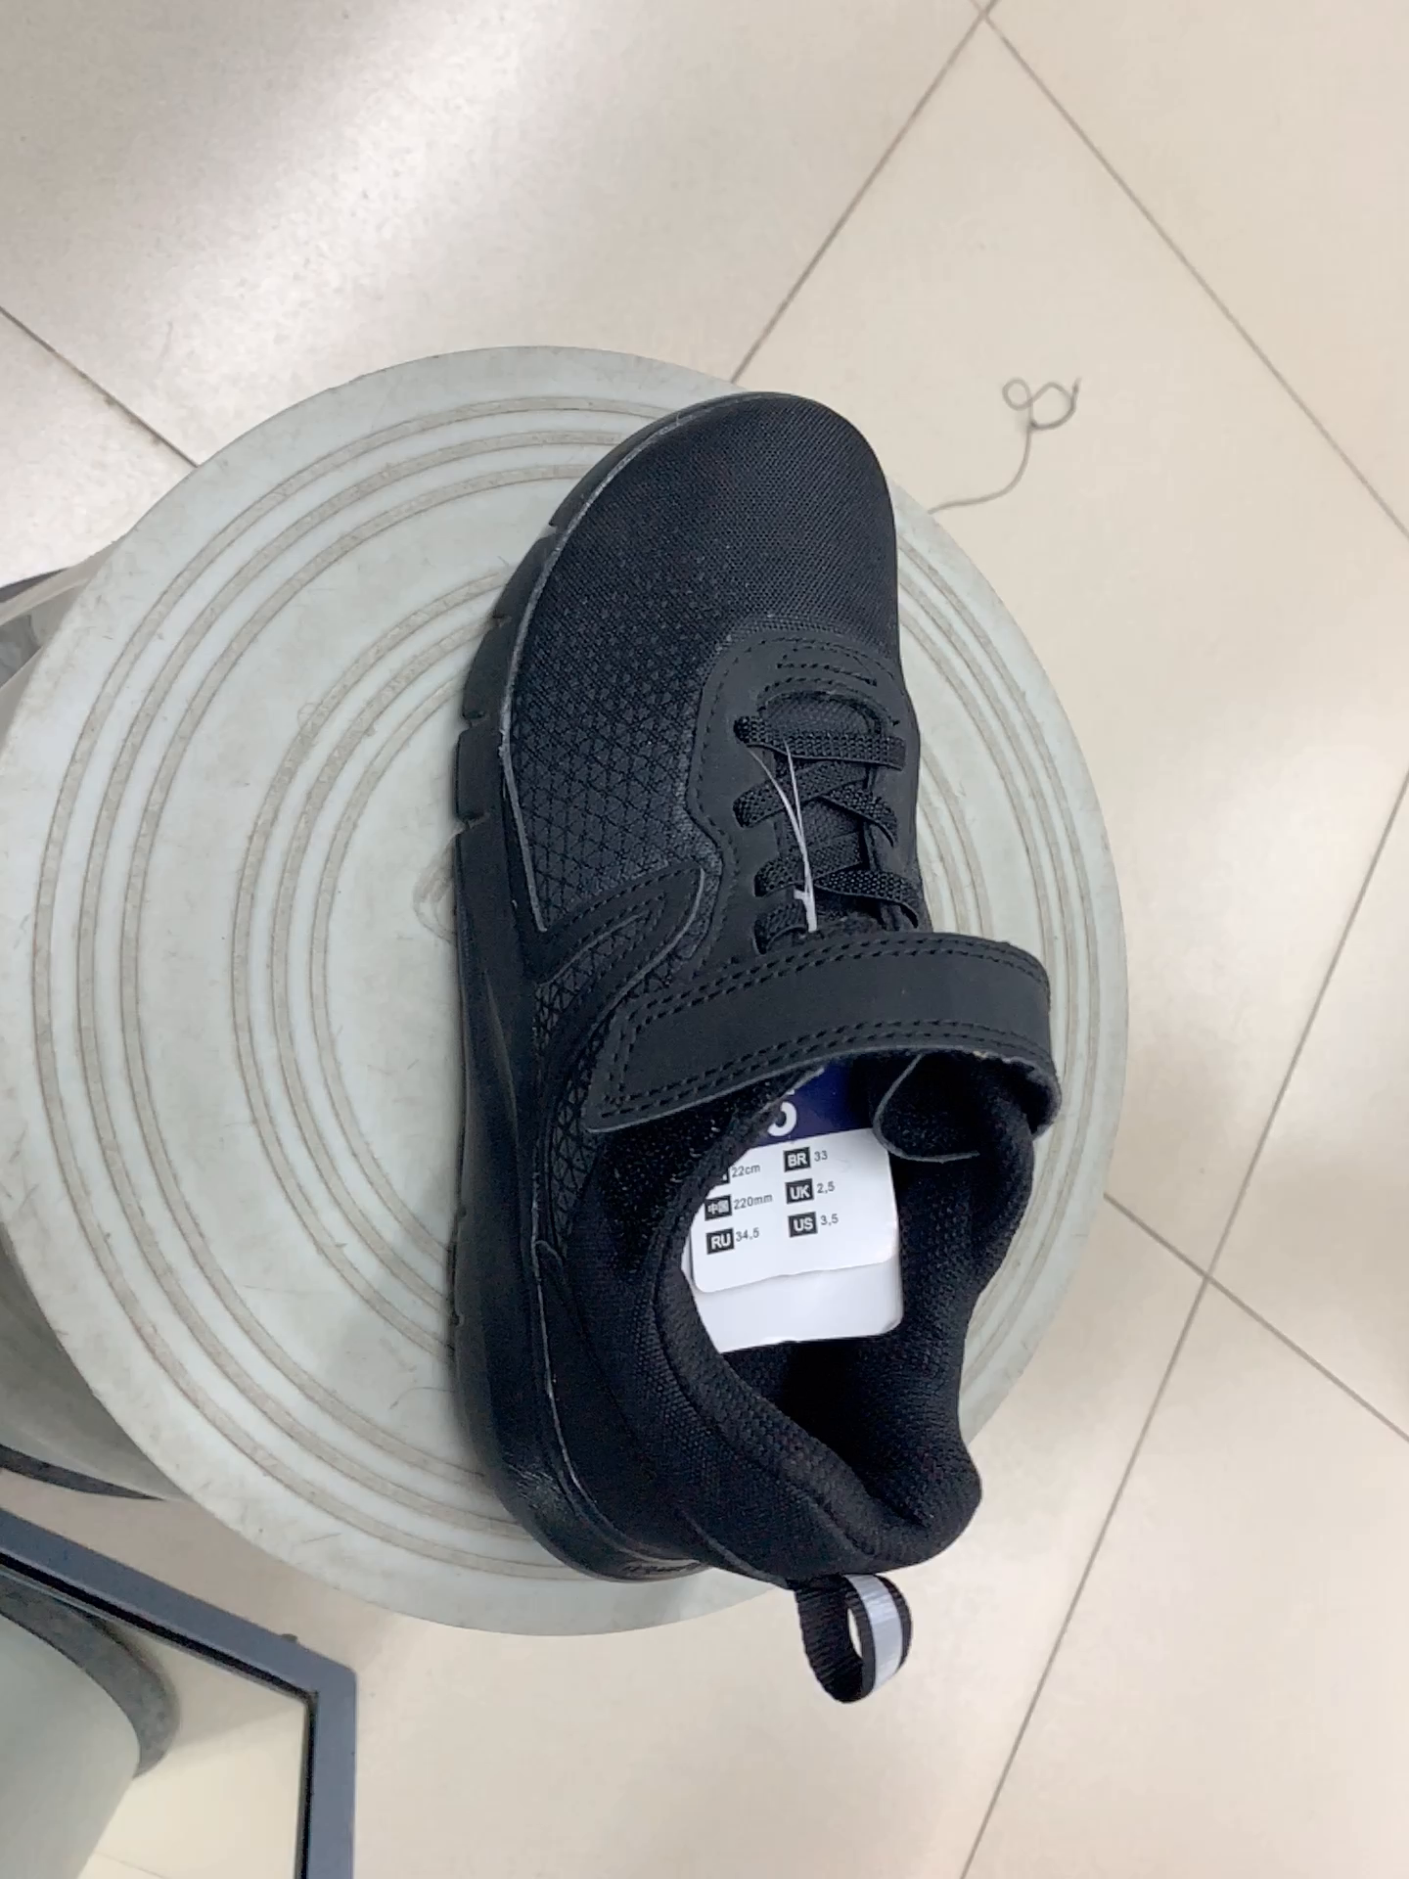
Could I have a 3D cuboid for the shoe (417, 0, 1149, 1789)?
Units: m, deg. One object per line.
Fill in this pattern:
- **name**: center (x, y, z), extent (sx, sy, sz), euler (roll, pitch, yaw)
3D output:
- **shoe**: center (0.014, -0.007, 0.261), extent (0.100, 0.080, 0.250), euler (3, 86, -30)
